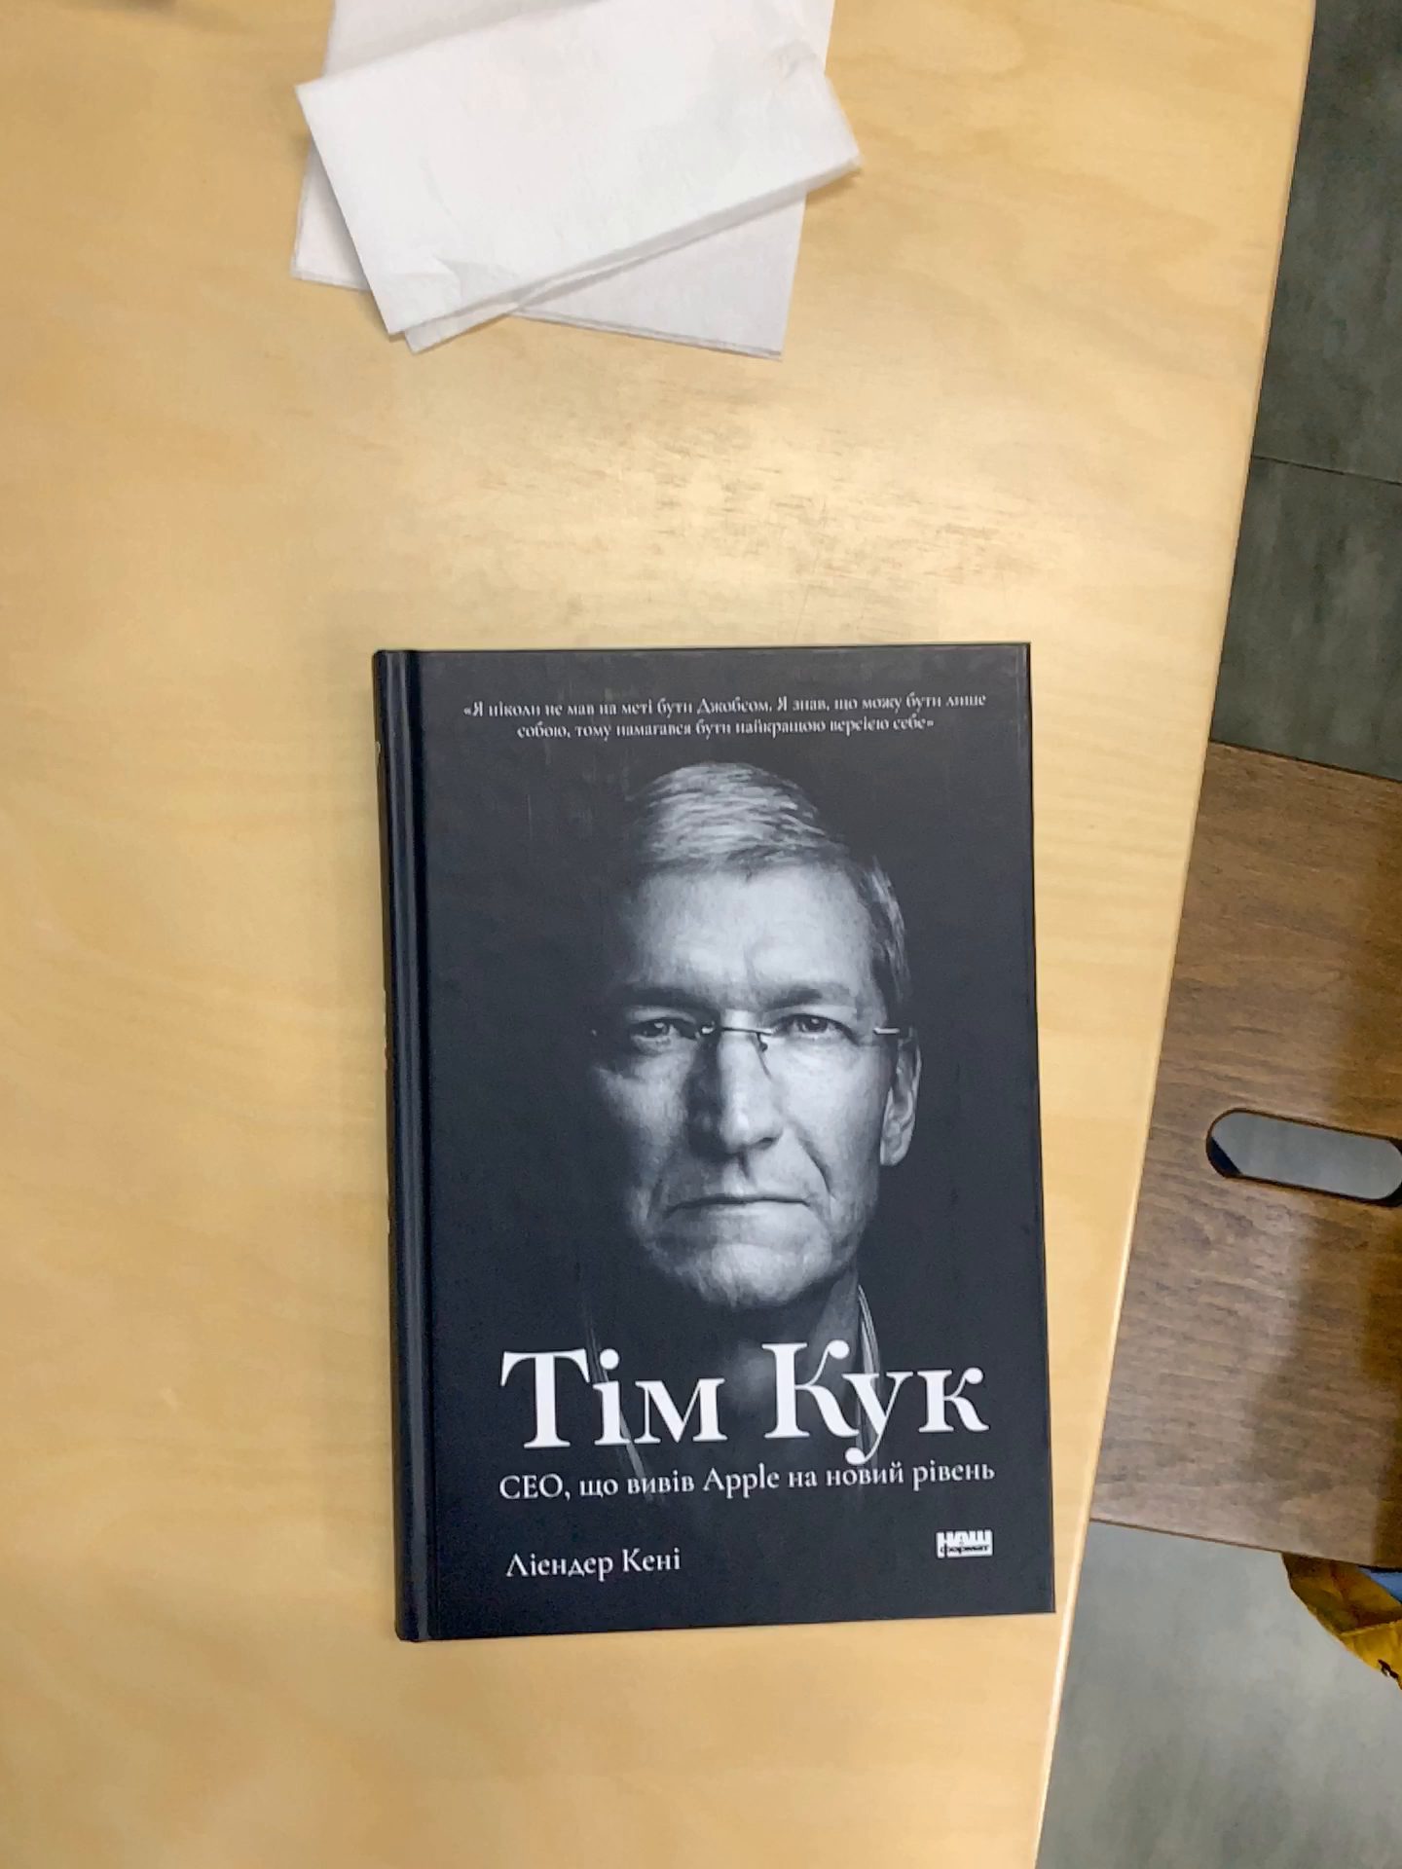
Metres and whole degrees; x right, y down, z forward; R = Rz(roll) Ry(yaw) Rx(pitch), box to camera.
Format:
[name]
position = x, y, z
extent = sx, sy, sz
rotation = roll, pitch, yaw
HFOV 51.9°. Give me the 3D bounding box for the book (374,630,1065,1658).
[book]
position = 0.003, 0.044, 0.328
extent = 0.144, 0.034, 0.217
rotation = -1, 88, -2
